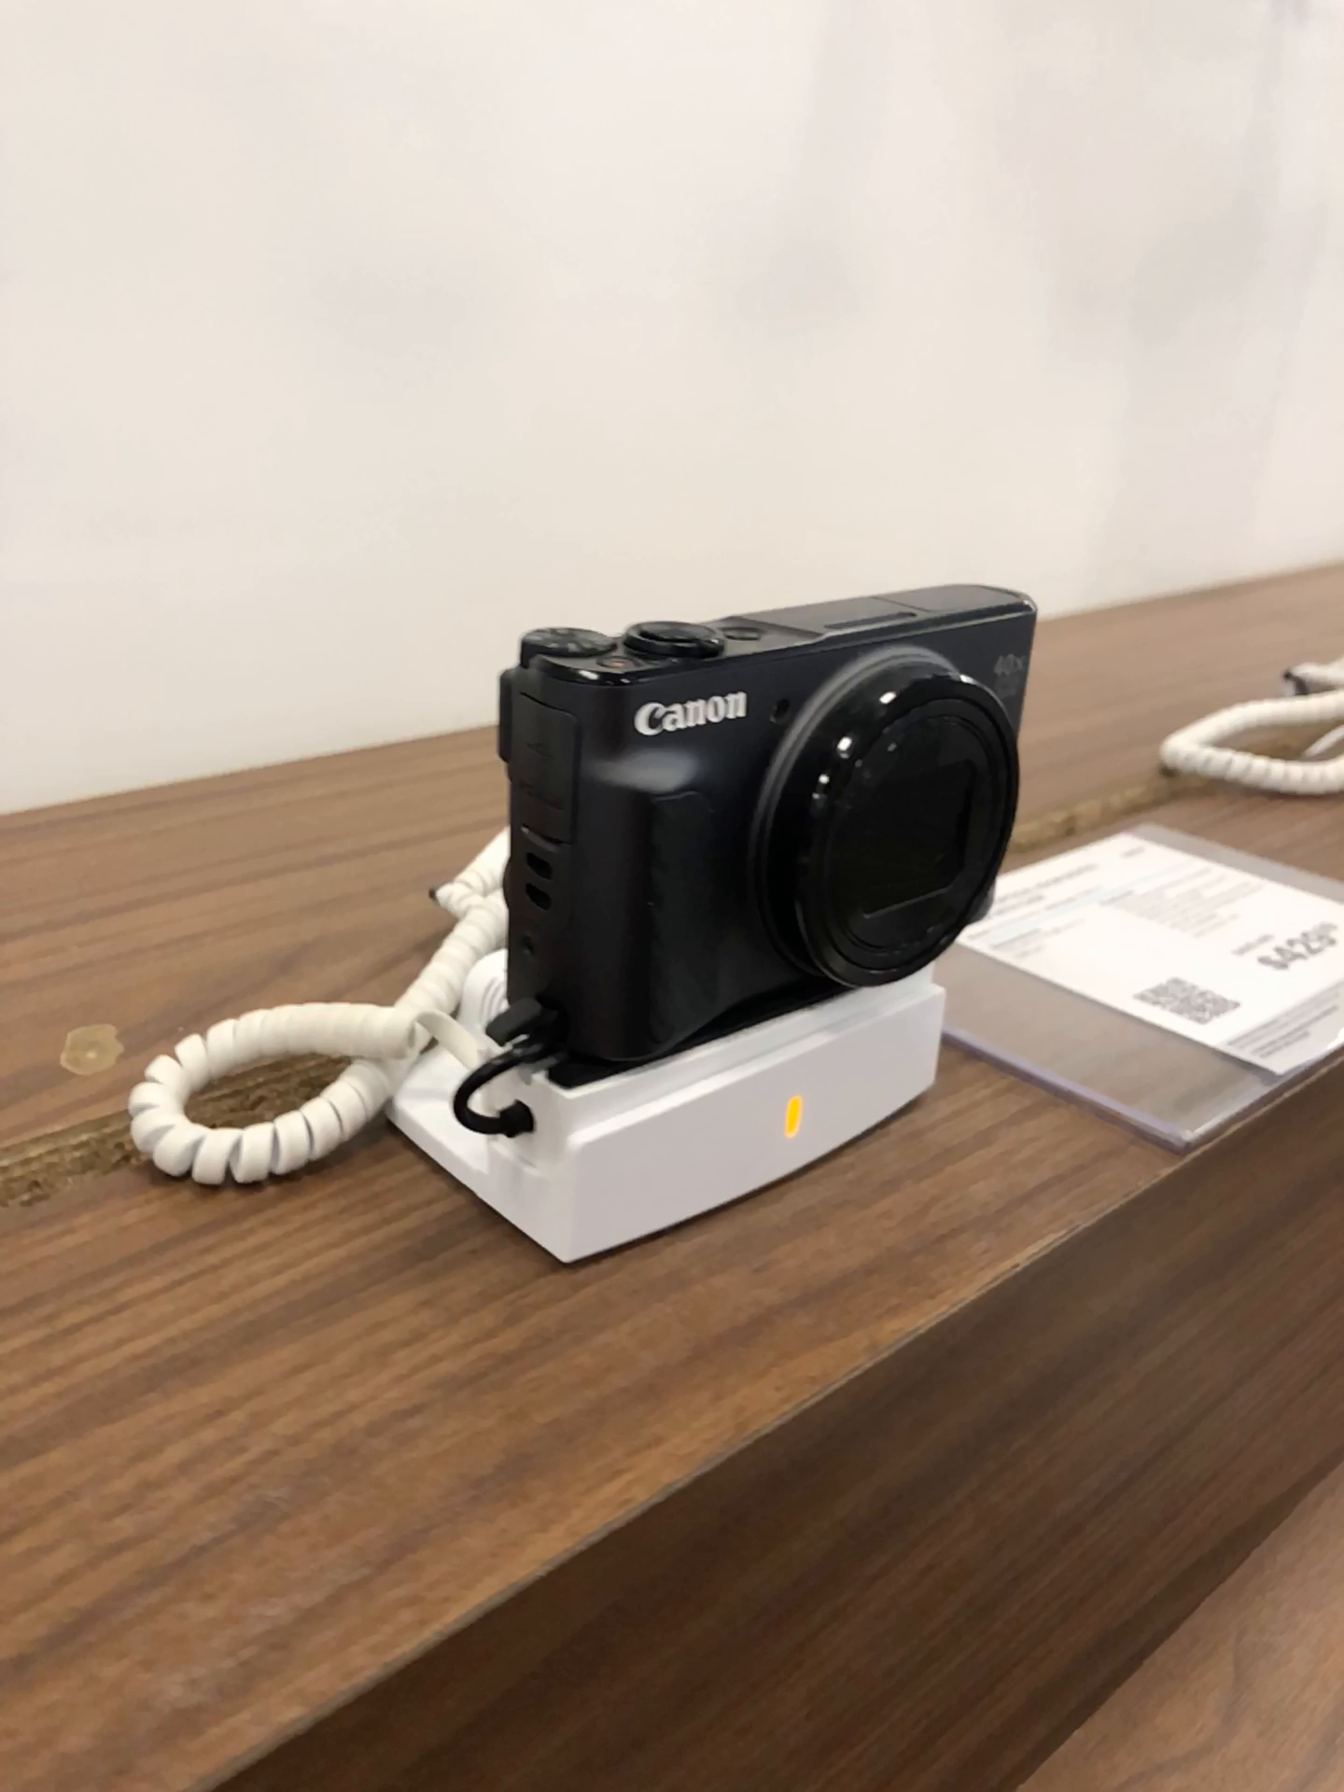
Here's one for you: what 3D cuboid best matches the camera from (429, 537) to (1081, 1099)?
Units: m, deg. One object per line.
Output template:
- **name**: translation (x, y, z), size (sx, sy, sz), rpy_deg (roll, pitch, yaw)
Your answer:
- **camera**: translation (0.018, -0.020, 0.259), size (0.120, 0.070, 0.030), rpy_deg (-16, 27, -39)
